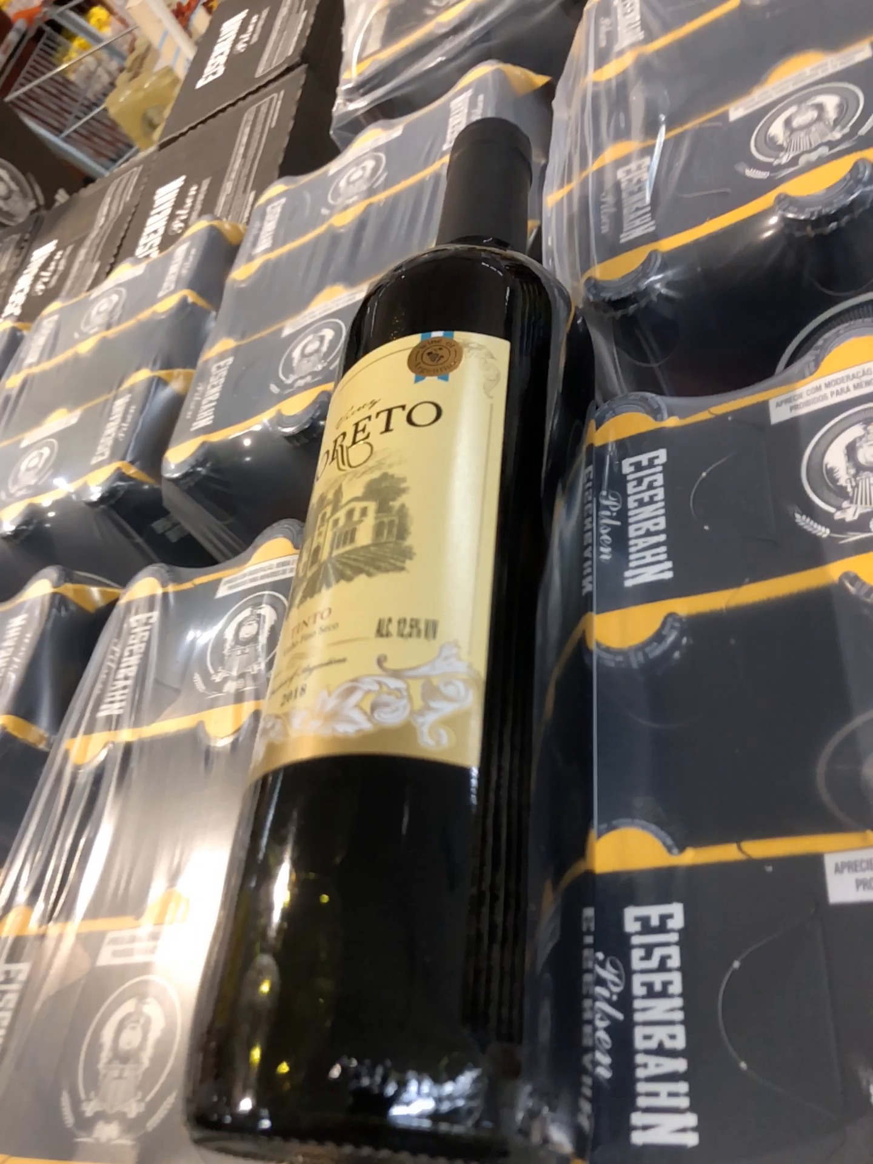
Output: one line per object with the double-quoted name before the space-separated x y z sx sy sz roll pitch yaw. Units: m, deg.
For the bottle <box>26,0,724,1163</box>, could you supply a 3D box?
"bottle" 0.005 -0.040 0.251 0.080 0.080 0.331 -26 43 38
